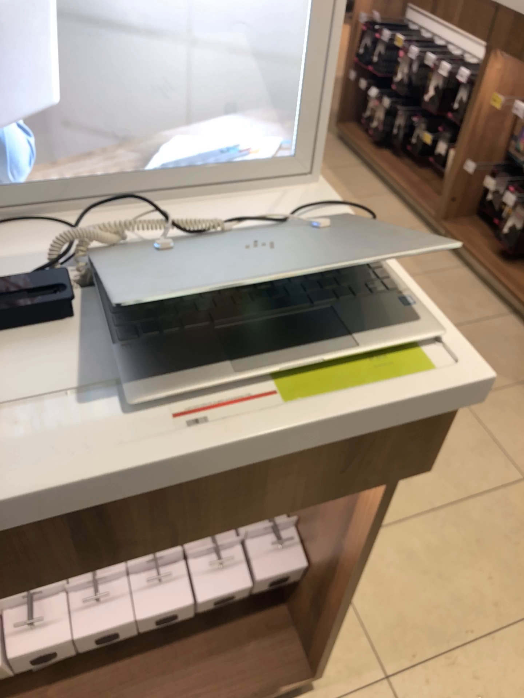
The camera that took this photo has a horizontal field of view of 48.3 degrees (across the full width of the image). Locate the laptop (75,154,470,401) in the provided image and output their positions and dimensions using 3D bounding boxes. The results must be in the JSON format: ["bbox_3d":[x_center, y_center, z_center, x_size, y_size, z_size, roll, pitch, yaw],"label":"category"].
[{"bbox_3d":[-0.001,-0.086,0.550,0.298,0.078,0.211,-12,46,-18],"label":"laptop"}]
